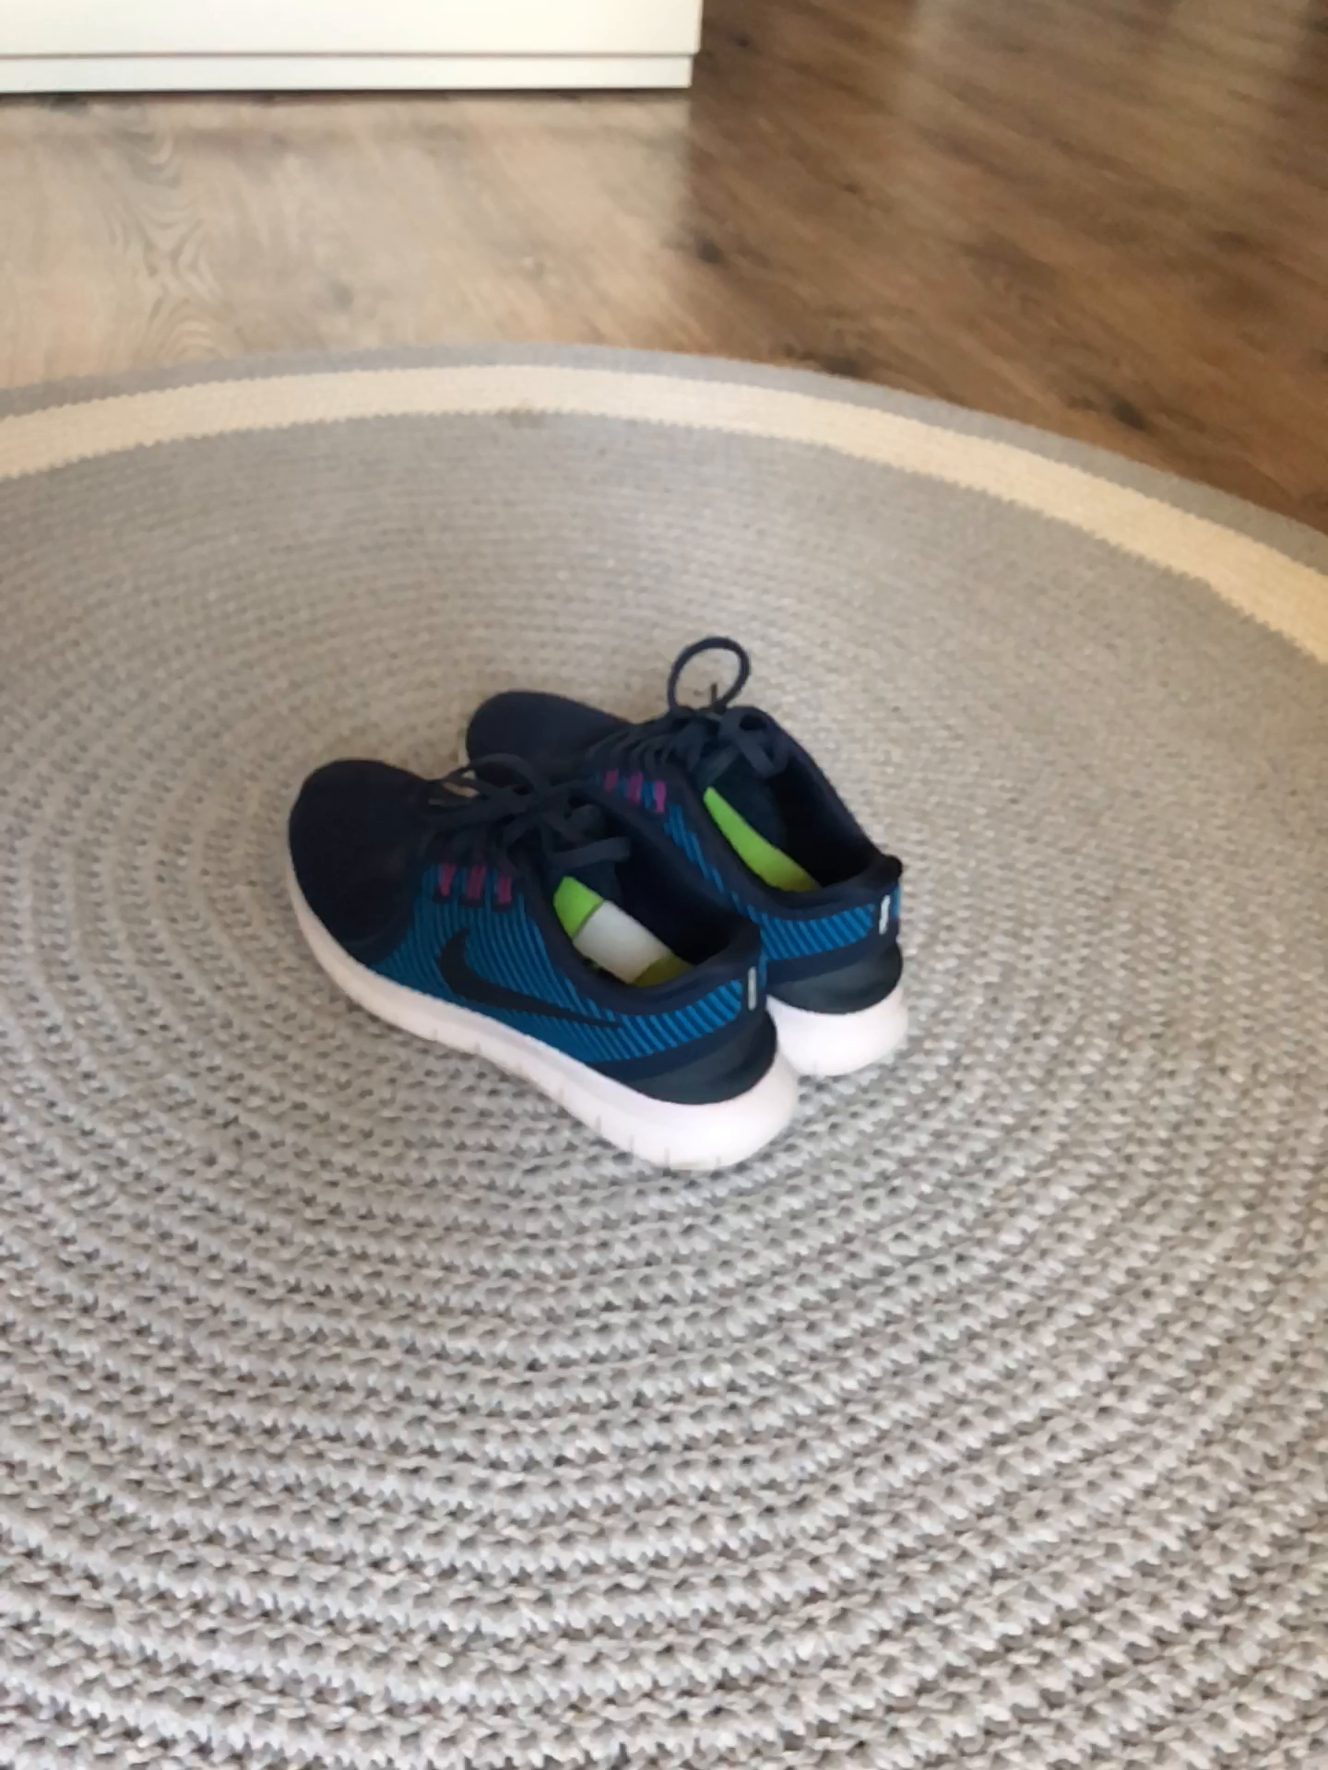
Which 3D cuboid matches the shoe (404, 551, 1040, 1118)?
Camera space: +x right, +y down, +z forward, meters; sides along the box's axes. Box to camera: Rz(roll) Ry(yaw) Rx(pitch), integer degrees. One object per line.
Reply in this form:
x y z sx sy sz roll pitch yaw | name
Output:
0.009 -0.036 0.612 0.100 0.080 0.270 -25 48 -32 | shoe

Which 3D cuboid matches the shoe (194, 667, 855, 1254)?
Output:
-0.060 0.016 0.569 0.244 0.080 0.100 32 46 29 | shoe
